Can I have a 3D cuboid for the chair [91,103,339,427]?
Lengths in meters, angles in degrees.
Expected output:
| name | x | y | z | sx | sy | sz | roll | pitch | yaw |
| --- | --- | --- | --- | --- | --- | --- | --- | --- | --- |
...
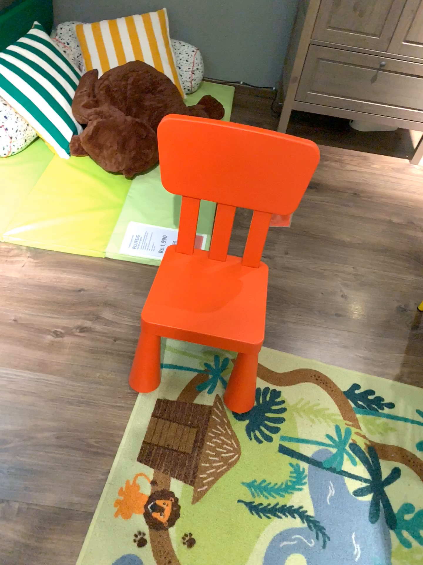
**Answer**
| name | x | y | z | sx | sy | sz | roll | pitch | yaw |
| --- | --- | --- | --- | --- | --- | --- | --- | --- | --- |
| chair | 0.004 | -0.027 | 1.116 | 0.430 | 0.598 | 0.492 | 11 | 47 | 1 |
